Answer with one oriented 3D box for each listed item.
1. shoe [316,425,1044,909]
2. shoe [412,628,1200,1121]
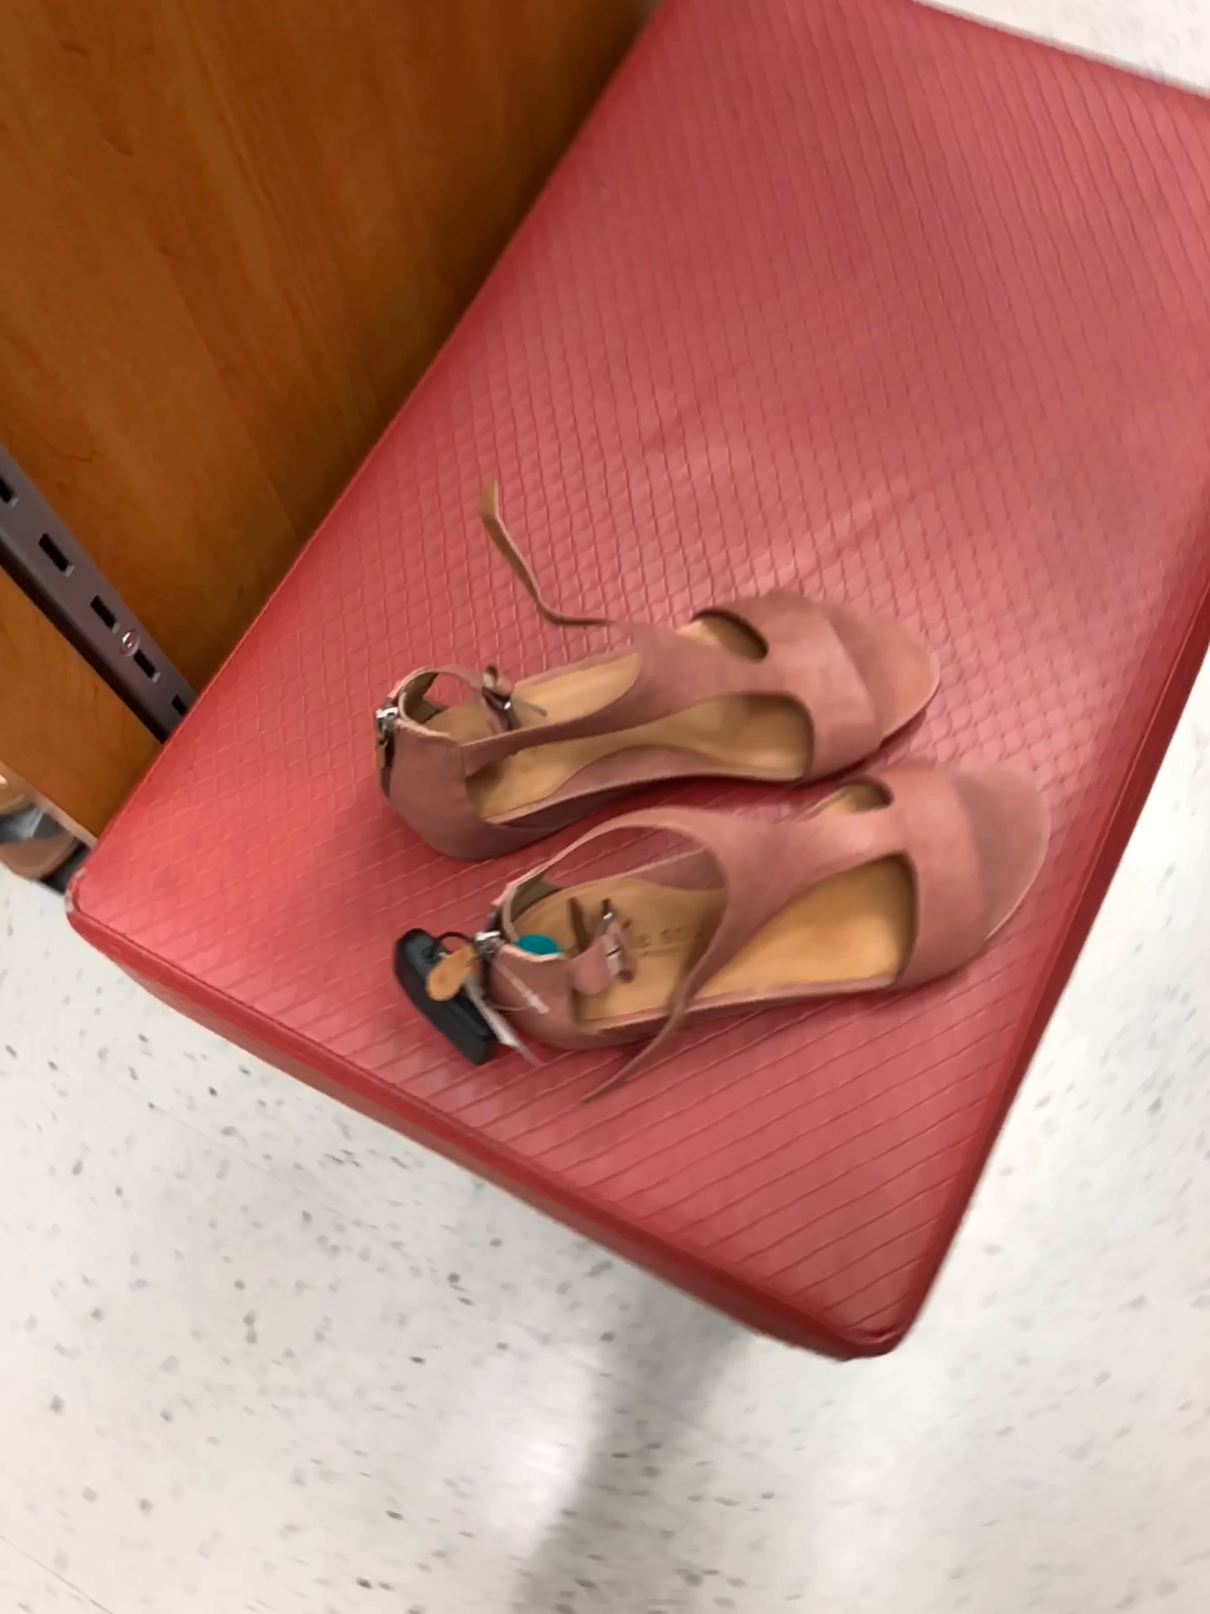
[{"bbox_3d":[0.027,-0.055,0.565,0.261,0.116,0.106,-14,70,-5],"label":"shoe"},{"bbox_3d":[0.071,0.033,0.536,0.263,0.126,0.103,-14,70,-5],"label":"shoe"}]
